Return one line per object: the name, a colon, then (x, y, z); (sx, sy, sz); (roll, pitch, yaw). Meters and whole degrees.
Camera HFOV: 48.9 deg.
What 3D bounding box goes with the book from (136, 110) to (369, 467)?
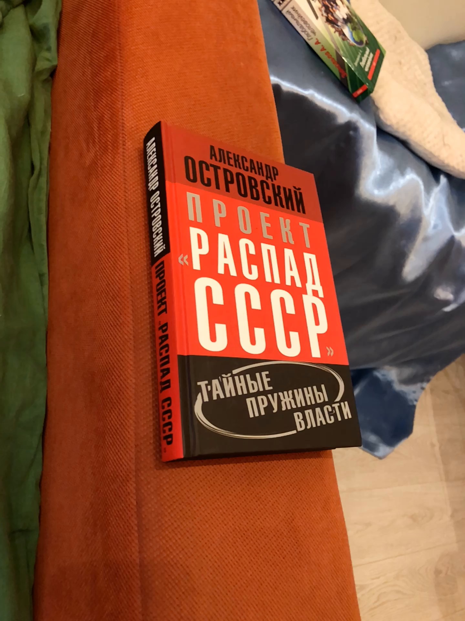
book: (0.011, -0.013, 0.328); (0.136, 0.030, 0.207); (8, 66, -35)
